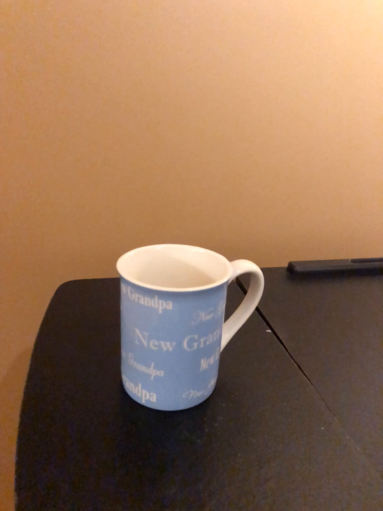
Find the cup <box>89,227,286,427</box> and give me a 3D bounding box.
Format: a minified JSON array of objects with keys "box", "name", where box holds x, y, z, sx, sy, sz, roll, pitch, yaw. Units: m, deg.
[{"box":[-0.007,0.050,0.370,0.130,0.110,0.100,-11,25,-33],"name":"cup"}]
